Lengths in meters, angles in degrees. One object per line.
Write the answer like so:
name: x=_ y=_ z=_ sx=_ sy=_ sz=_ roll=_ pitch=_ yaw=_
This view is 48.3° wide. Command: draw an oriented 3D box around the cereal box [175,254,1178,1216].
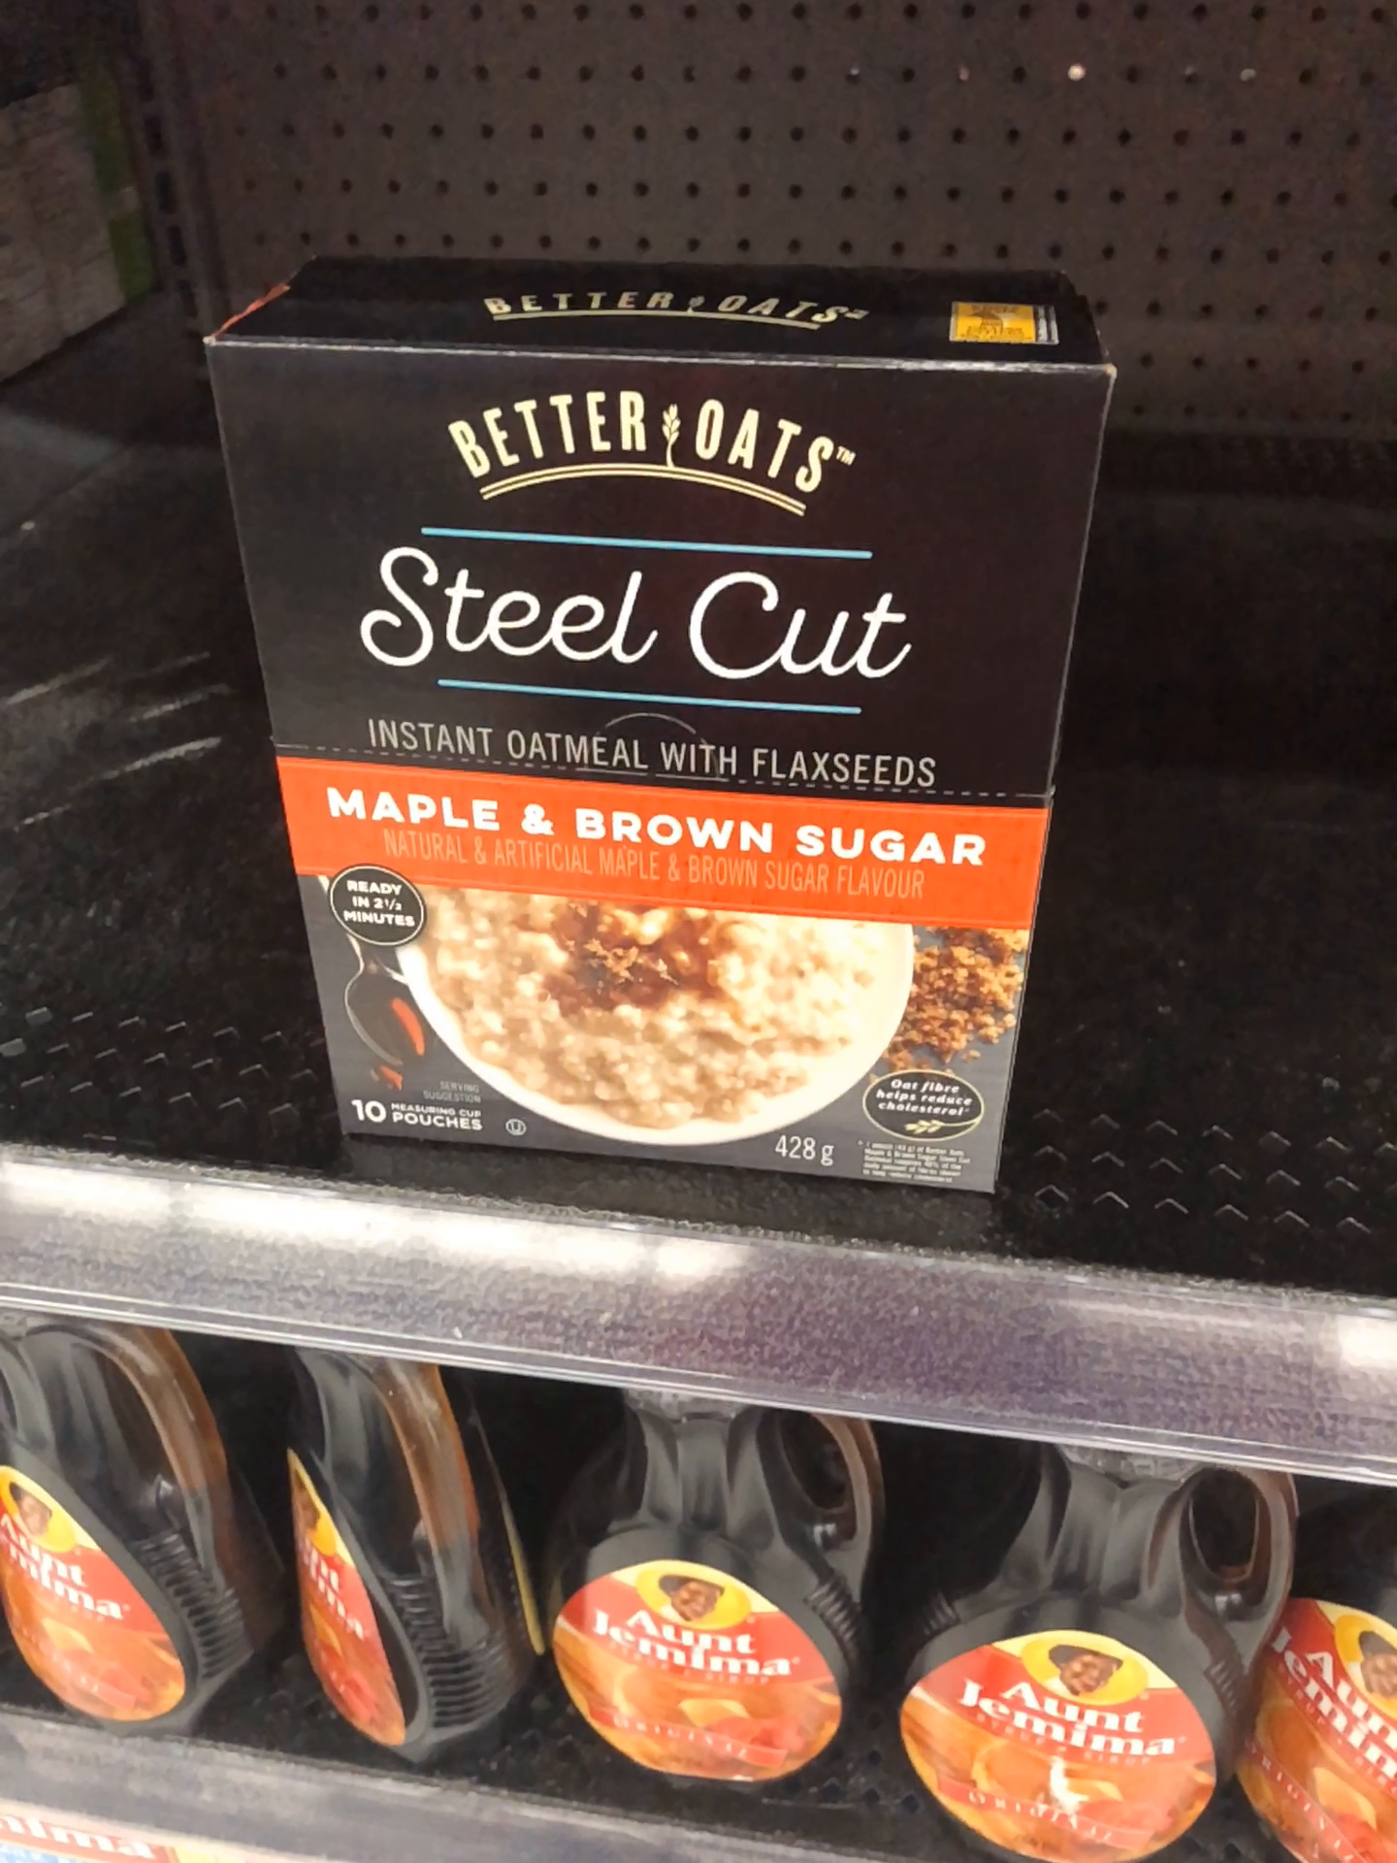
cereal box: x=-0.001 y=-0.037 z=0.326 sx=0.160 sy=0.179 sz=0.070 roll=4 pitch=36 yaw=6
